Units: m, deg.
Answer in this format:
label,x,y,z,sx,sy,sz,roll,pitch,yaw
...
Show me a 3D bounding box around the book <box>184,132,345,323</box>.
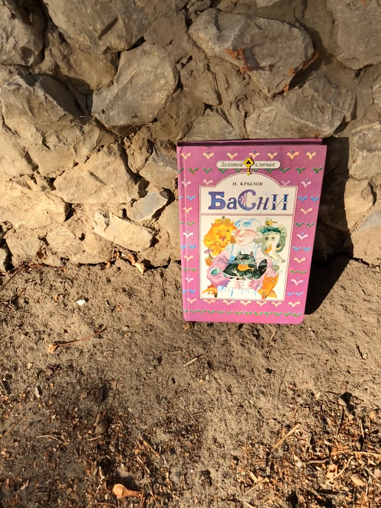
label,x,y,z,sx,sy,sz,roll,pitch,yaw
book,0.066,-0.019,0.431,0.141,0.201,0.025,1,29,2
